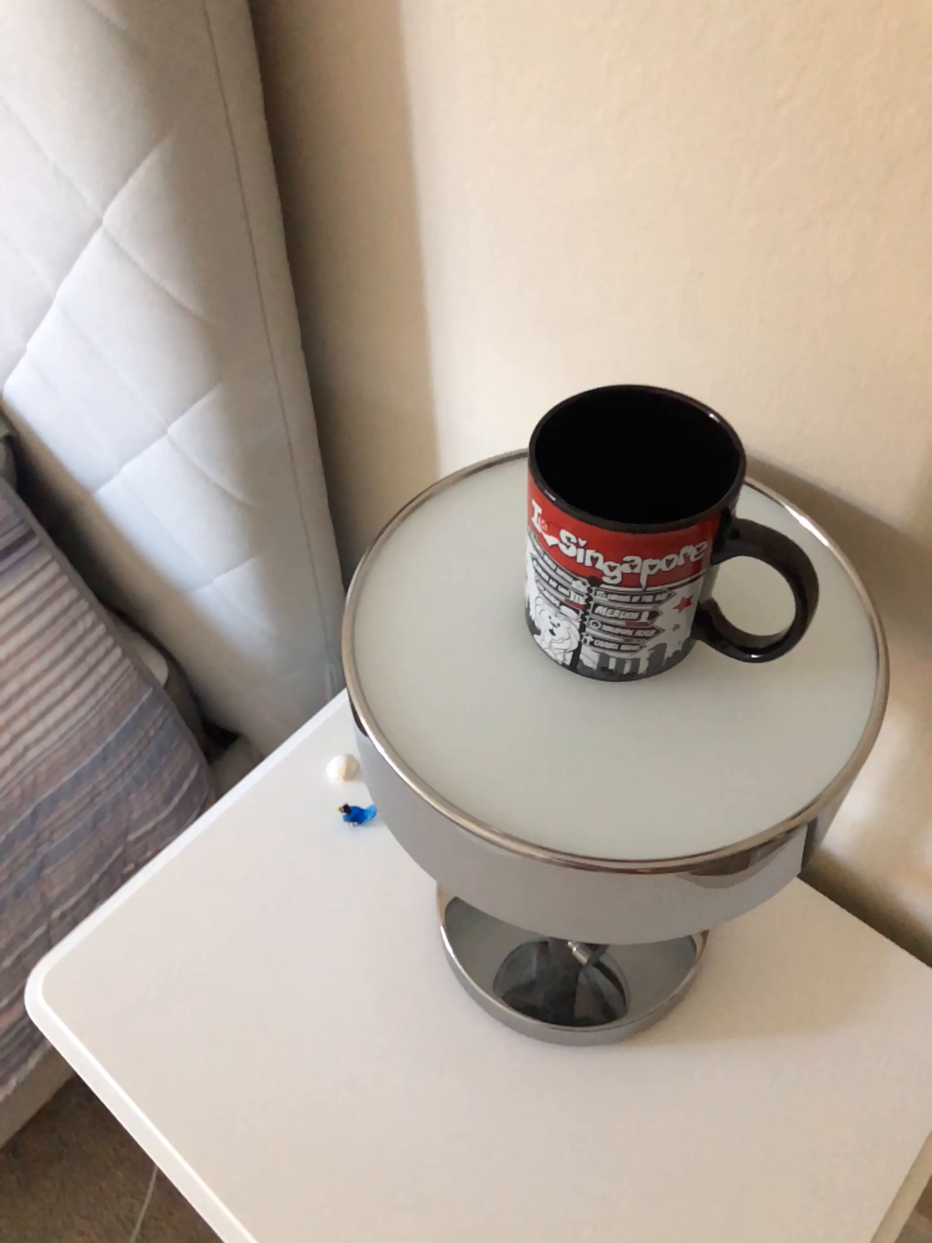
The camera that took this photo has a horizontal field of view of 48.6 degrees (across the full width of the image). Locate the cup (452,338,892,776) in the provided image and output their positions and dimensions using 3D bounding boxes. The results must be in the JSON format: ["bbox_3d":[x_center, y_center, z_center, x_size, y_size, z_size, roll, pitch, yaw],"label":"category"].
[{"bbox_3d":[0.075,-0.027,0.404,0.130,0.100,0.090,23,55,19],"label":"cup"}]
